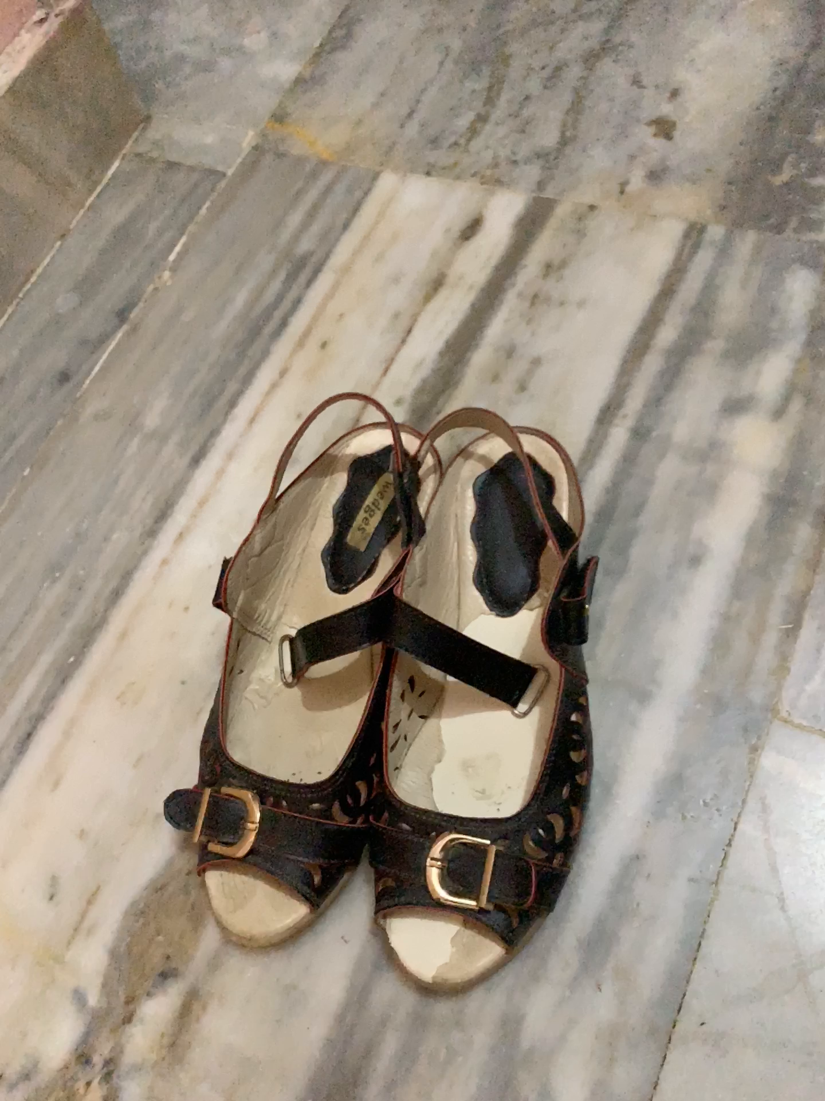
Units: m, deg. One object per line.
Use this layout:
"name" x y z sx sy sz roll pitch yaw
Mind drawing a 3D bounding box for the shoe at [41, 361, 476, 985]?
"shoe" -0.052 0.050 0.402 0.100 0.100 0.260 7 66 17

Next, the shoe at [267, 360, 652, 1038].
"shoe" 0.037 0.054 0.379 0.100 0.100 0.260 7 66 17
